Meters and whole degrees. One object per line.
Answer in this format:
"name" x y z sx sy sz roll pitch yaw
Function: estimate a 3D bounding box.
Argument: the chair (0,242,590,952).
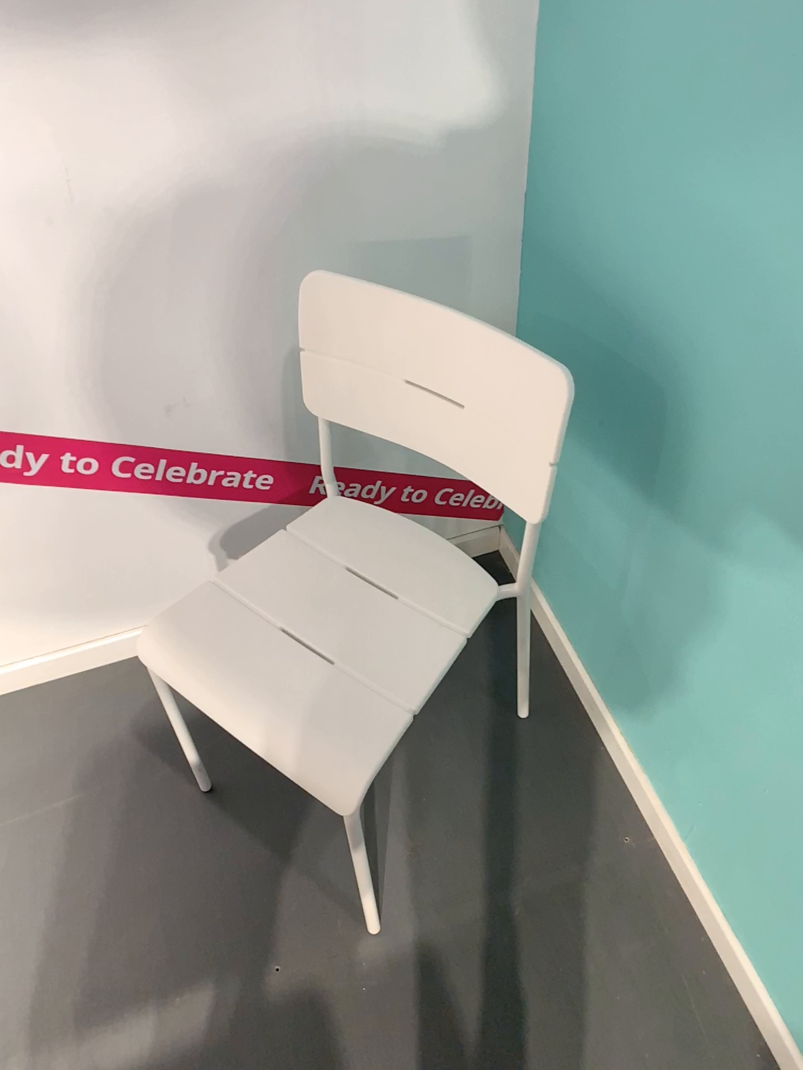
"chair" -0.092 0.126 1.129 0.431 0.807 0.451 29 56 26
